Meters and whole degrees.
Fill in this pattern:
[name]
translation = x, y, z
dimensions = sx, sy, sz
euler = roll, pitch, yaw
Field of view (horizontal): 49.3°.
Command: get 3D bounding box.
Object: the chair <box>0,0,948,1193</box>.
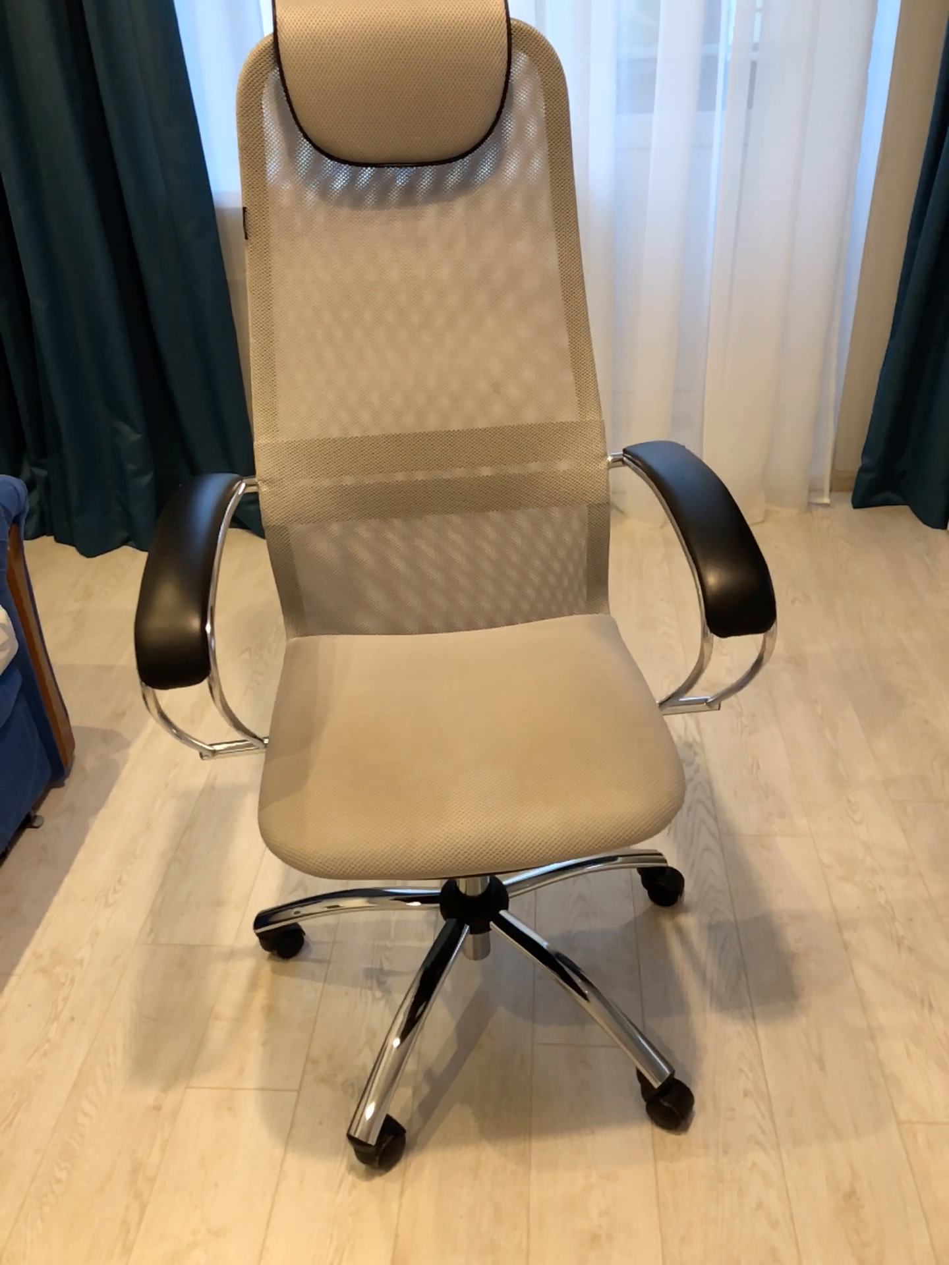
[chair]
translation = -0.030, -0.055, 1.162
dimensions = 0.680, 1.152, 0.695
euler = -3, 30, 3
